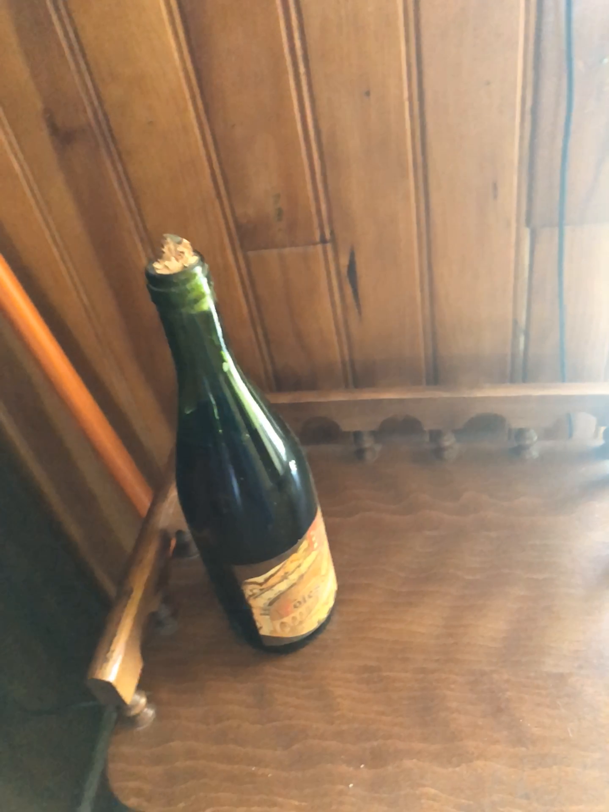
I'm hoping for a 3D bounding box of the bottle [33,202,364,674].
[{"bbox_3d":[-0.034,0.036,0.385,0.090,0.278,0.091,-7,41,6],"label":"bottle"}]
